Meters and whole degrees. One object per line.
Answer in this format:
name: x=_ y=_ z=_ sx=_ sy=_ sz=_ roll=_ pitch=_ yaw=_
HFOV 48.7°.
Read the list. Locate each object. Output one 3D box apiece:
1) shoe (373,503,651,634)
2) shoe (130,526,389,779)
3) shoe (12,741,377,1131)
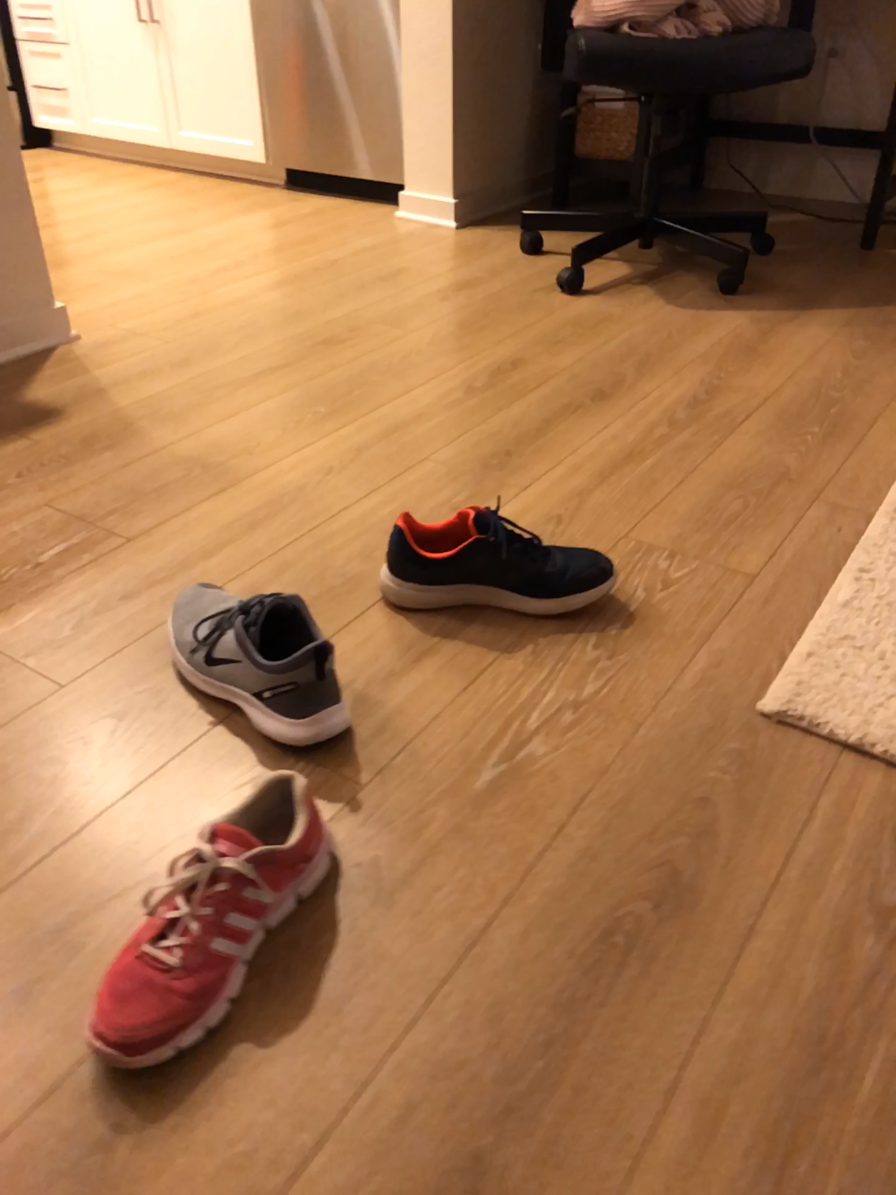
shoe: x=0.076 y=-0.038 z=1.223 sx=0.320 sy=0.099 sz=0.131 roll=2 pitch=34 yaw=2
shoe: x=-0.214 y=0.047 z=1.092 sx=0.130 sy=0.099 sz=0.321 roll=-24 pitch=40 yaw=-31
shoe: x=-0.188 y=0.258 z=0.810 sx=0.120 sy=0.099 sz=0.281 roll=18 pitch=38 yaw=25
